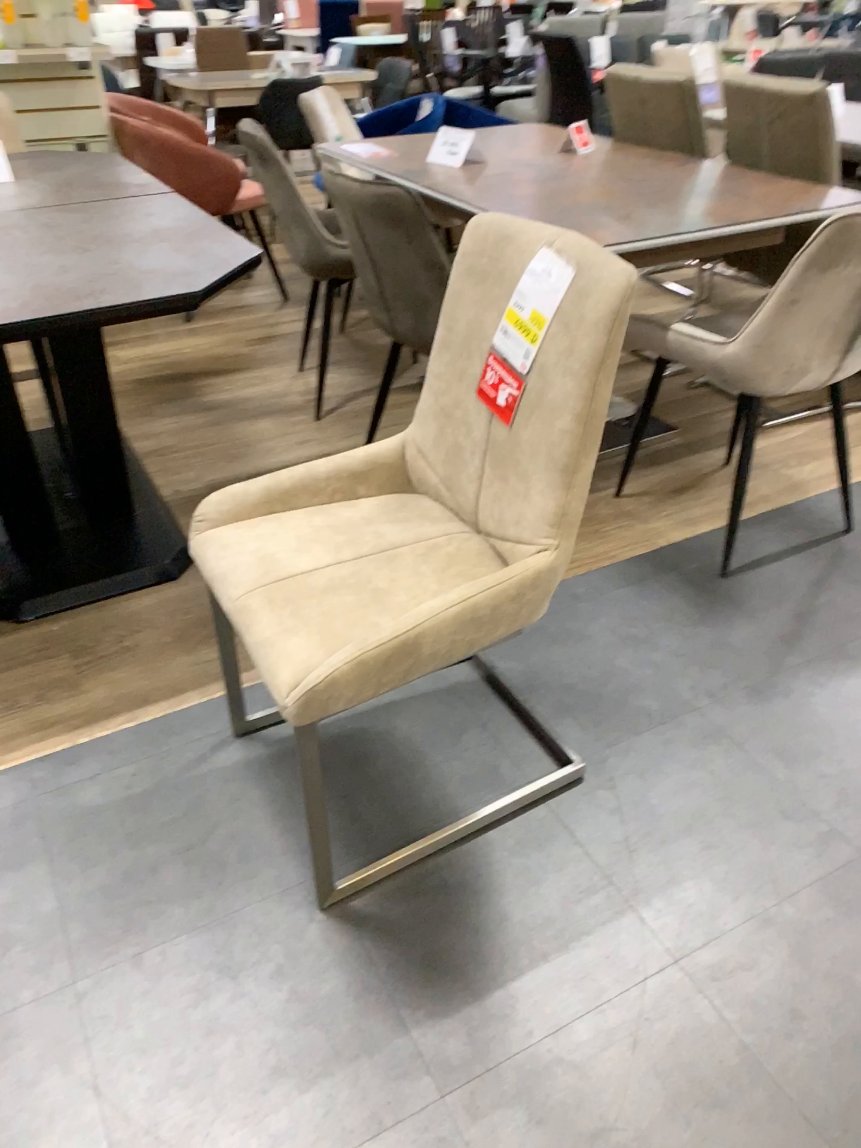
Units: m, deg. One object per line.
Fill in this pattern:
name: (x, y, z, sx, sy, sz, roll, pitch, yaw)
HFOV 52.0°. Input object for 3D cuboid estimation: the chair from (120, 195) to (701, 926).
chair: (-0.043, -0.047, 1.387, 0.584, 0.887, 0.512, -17, 37, -23)

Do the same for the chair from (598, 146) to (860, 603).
chair: (0.820, -0.500, 2.112, 0.481, 0.842, 0.626, -16, 36, -22)
